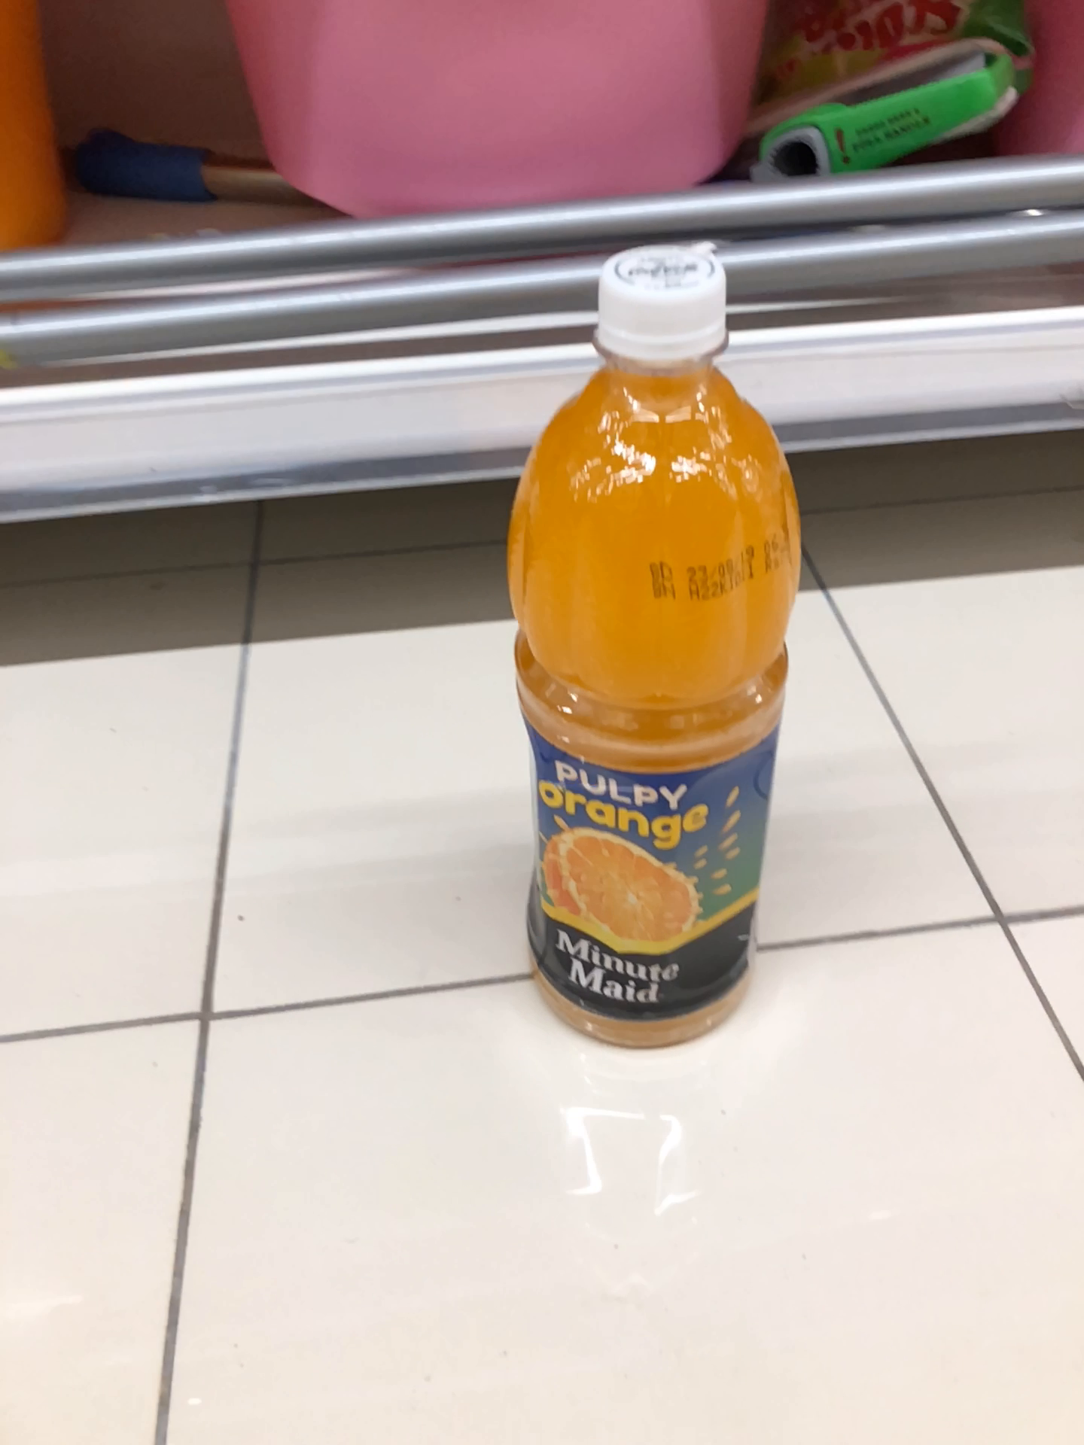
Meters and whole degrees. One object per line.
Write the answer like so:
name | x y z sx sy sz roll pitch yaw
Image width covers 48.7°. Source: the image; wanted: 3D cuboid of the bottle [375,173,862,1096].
bottle | 0.025 -0.010 0.366 0.090 0.268 0.081 15 43 20
